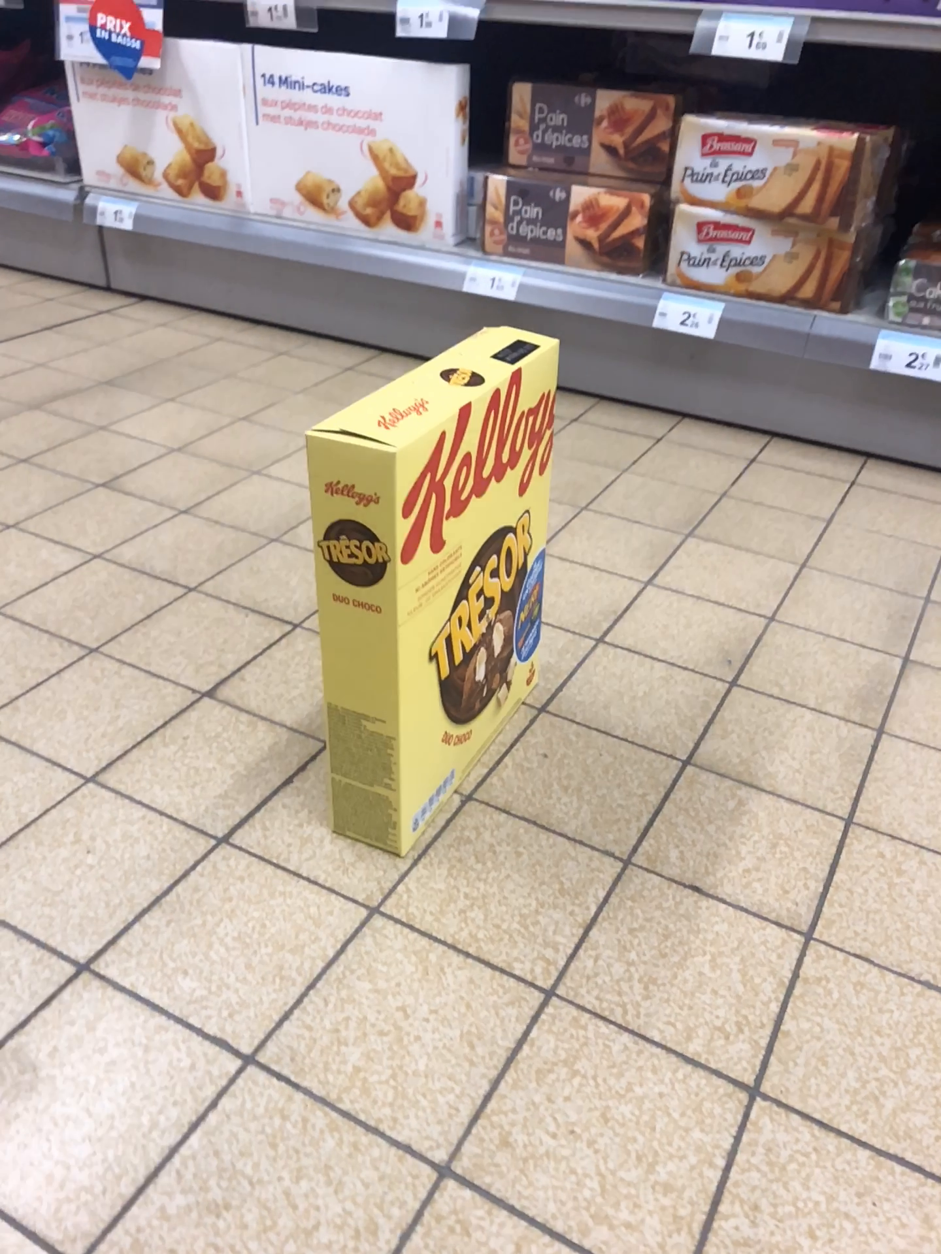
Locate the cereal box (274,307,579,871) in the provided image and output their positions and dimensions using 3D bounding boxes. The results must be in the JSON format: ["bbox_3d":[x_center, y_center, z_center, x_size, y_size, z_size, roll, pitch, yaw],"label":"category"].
[{"bbox_3d":[-0.017,-0.028,0.565,0.060,0.239,0.201,16,34,21],"label":"cereal box"}]
